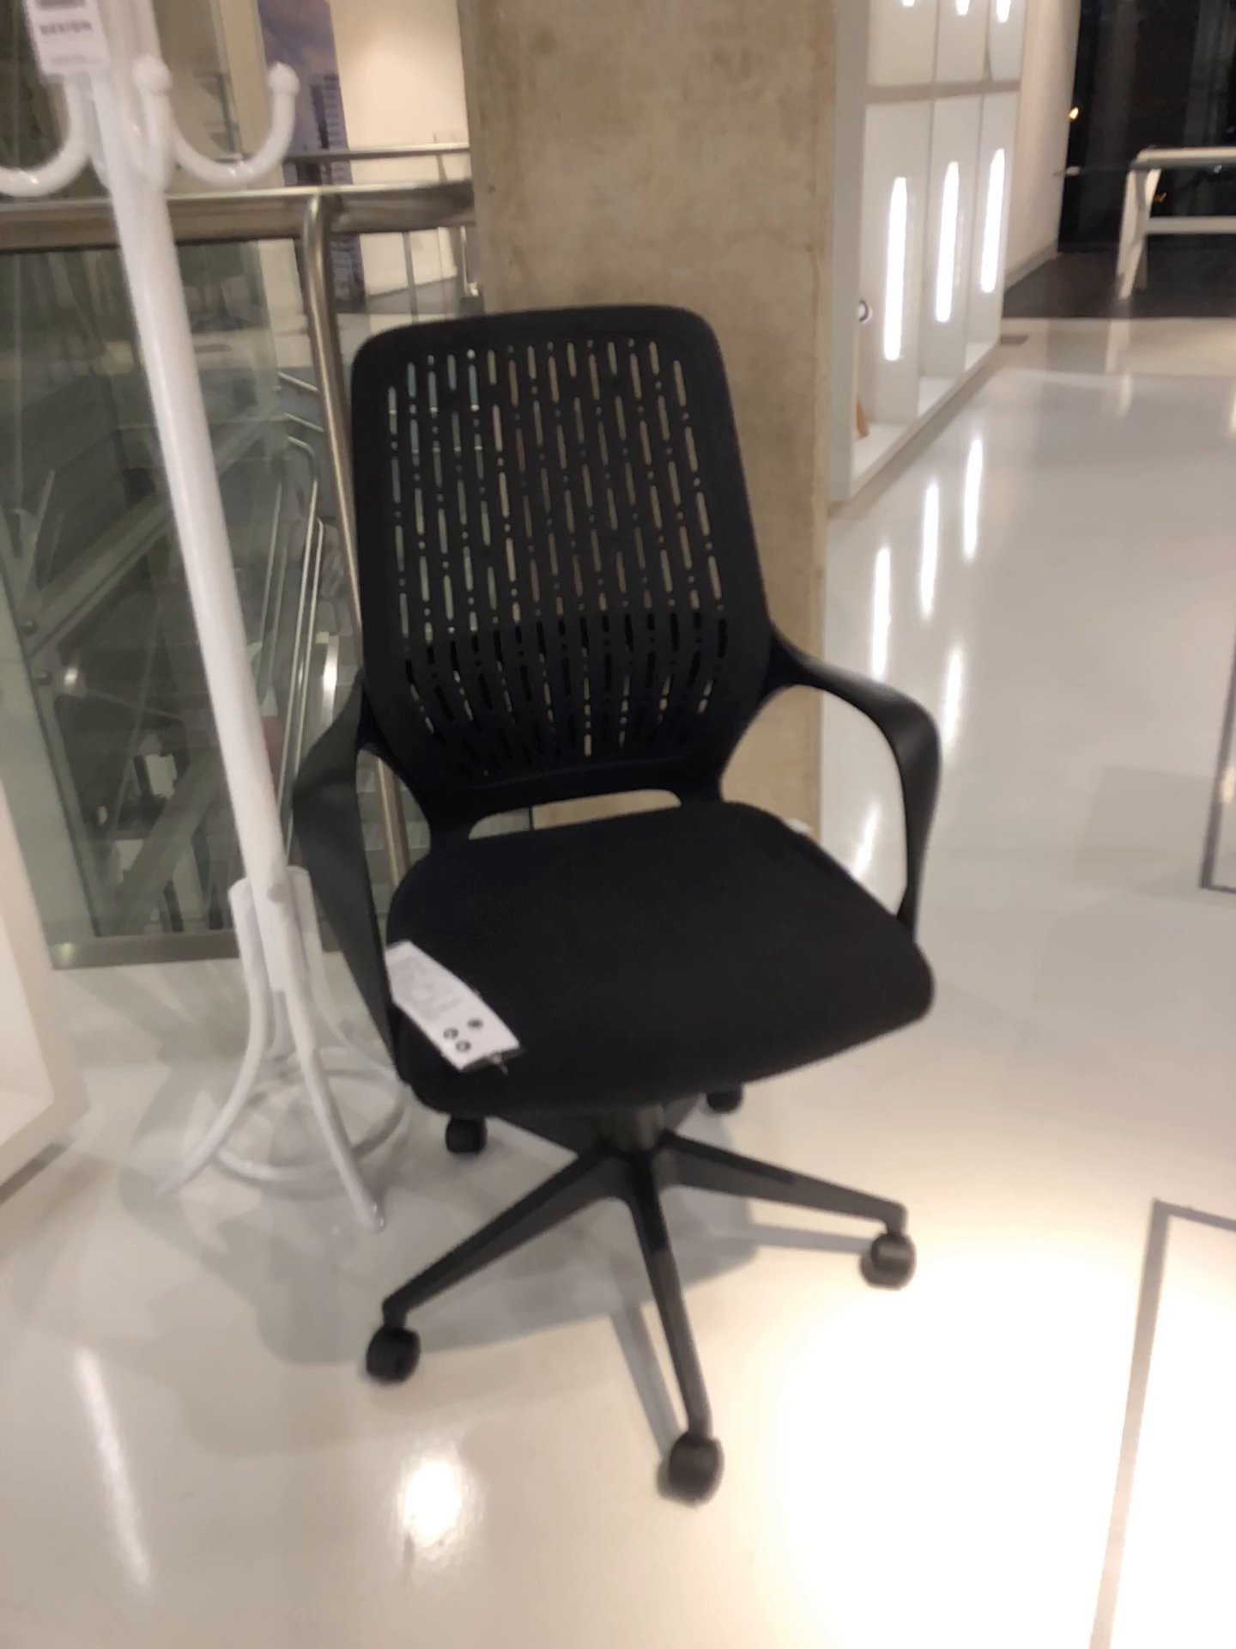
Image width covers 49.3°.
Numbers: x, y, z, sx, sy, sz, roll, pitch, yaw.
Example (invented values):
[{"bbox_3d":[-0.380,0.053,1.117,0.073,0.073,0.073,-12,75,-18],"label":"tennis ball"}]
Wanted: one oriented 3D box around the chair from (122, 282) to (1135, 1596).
[{"bbox_3d":[-0.021,0.054,1.370,0.640,1.023,0.705,-8,28,-9],"label":"chair"}]
